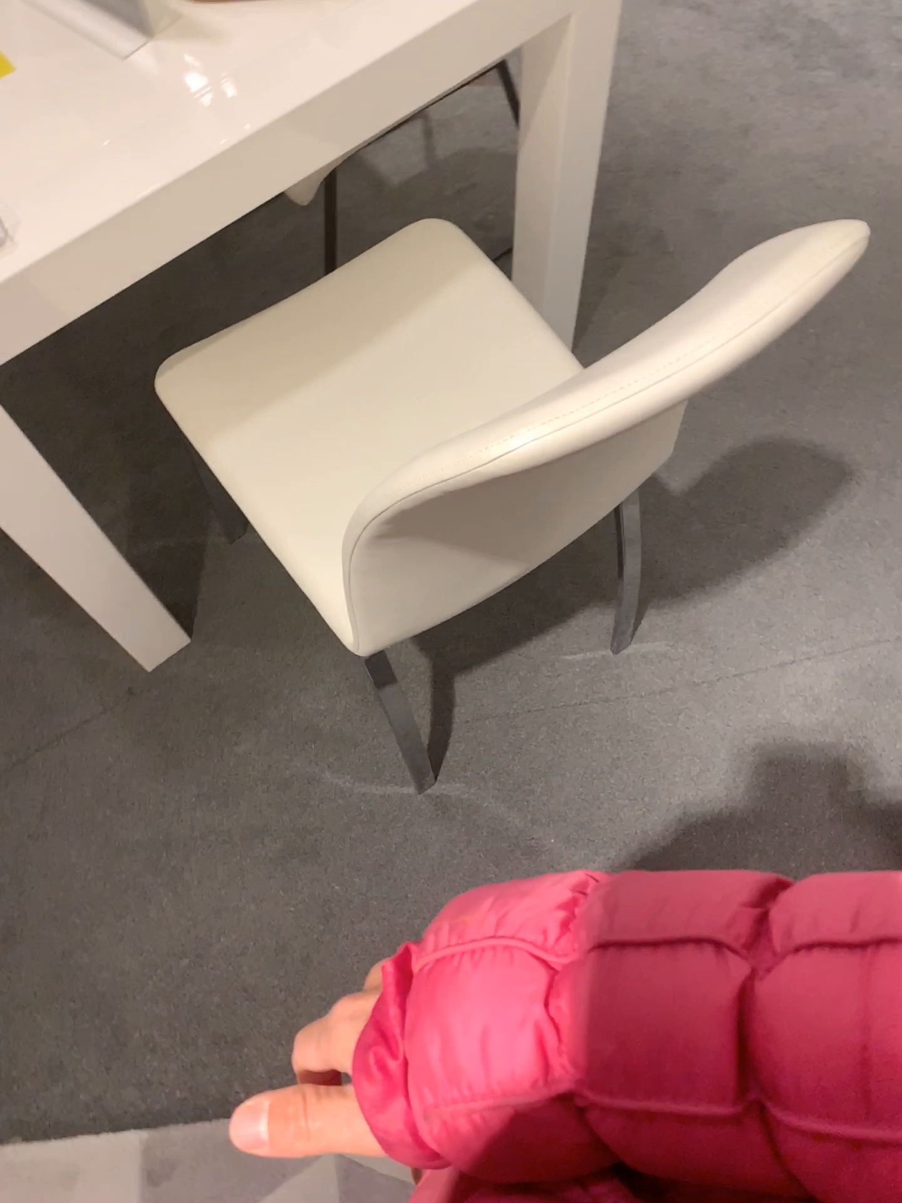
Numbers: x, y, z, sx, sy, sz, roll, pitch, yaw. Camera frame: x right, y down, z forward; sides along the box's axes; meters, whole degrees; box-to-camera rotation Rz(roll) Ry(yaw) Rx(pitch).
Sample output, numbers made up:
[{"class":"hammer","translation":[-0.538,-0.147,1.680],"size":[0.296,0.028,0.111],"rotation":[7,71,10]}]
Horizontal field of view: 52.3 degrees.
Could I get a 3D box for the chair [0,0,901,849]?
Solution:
[{"class":"chair","translation":[-0.038,-0.201,0.992],"size":[0.488,0.942,0.611],"rotation":[-39,71,-14]}]
